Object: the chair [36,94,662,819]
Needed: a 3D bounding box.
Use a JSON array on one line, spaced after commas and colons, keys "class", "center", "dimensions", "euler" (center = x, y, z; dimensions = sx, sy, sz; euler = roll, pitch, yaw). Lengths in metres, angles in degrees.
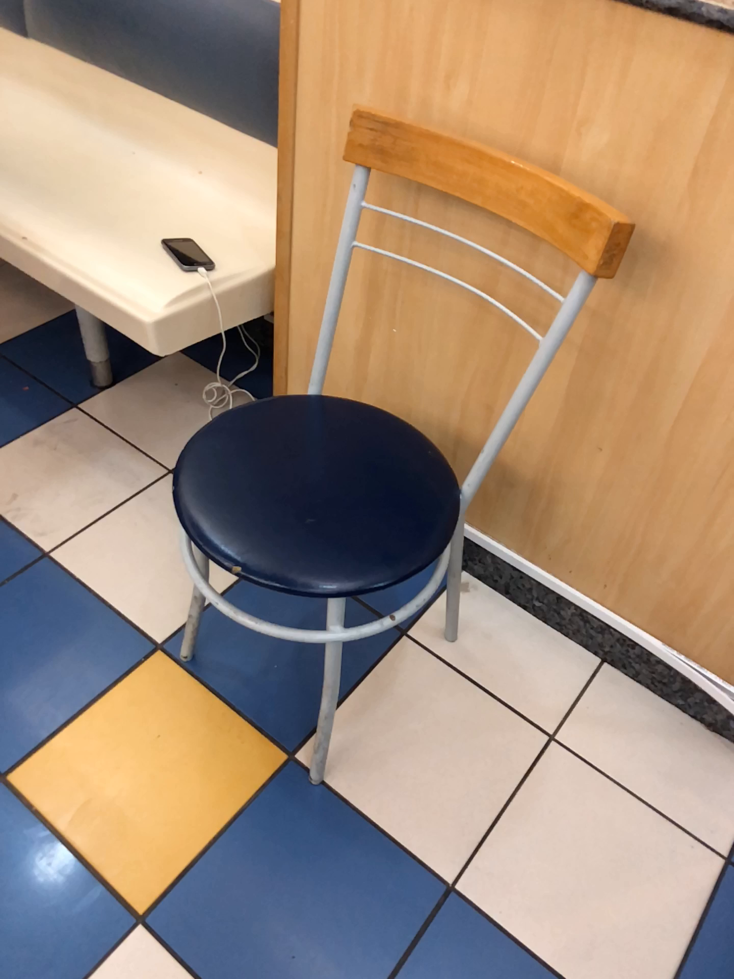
[{"class": "chair", "center": [-0.028, -0.039, 1.122], "dimensions": [0.441, 0.745, 0.523], "euler": [33, 50, 24]}]
